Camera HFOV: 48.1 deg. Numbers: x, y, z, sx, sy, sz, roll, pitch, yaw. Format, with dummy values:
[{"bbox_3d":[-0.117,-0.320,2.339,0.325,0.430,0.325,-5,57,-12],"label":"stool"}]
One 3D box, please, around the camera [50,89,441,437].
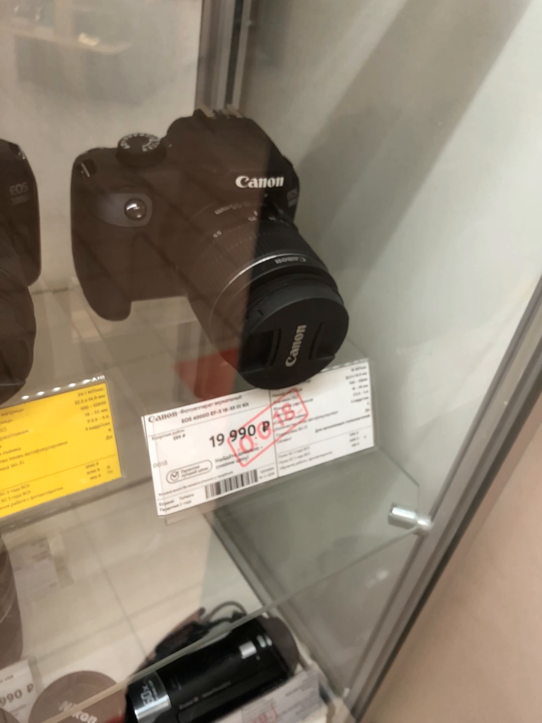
[{"bbox_3d":[-0.025,-0.063,0.307,0.125,0.099,0.147,-13,43,-29],"label":"camera"}]
